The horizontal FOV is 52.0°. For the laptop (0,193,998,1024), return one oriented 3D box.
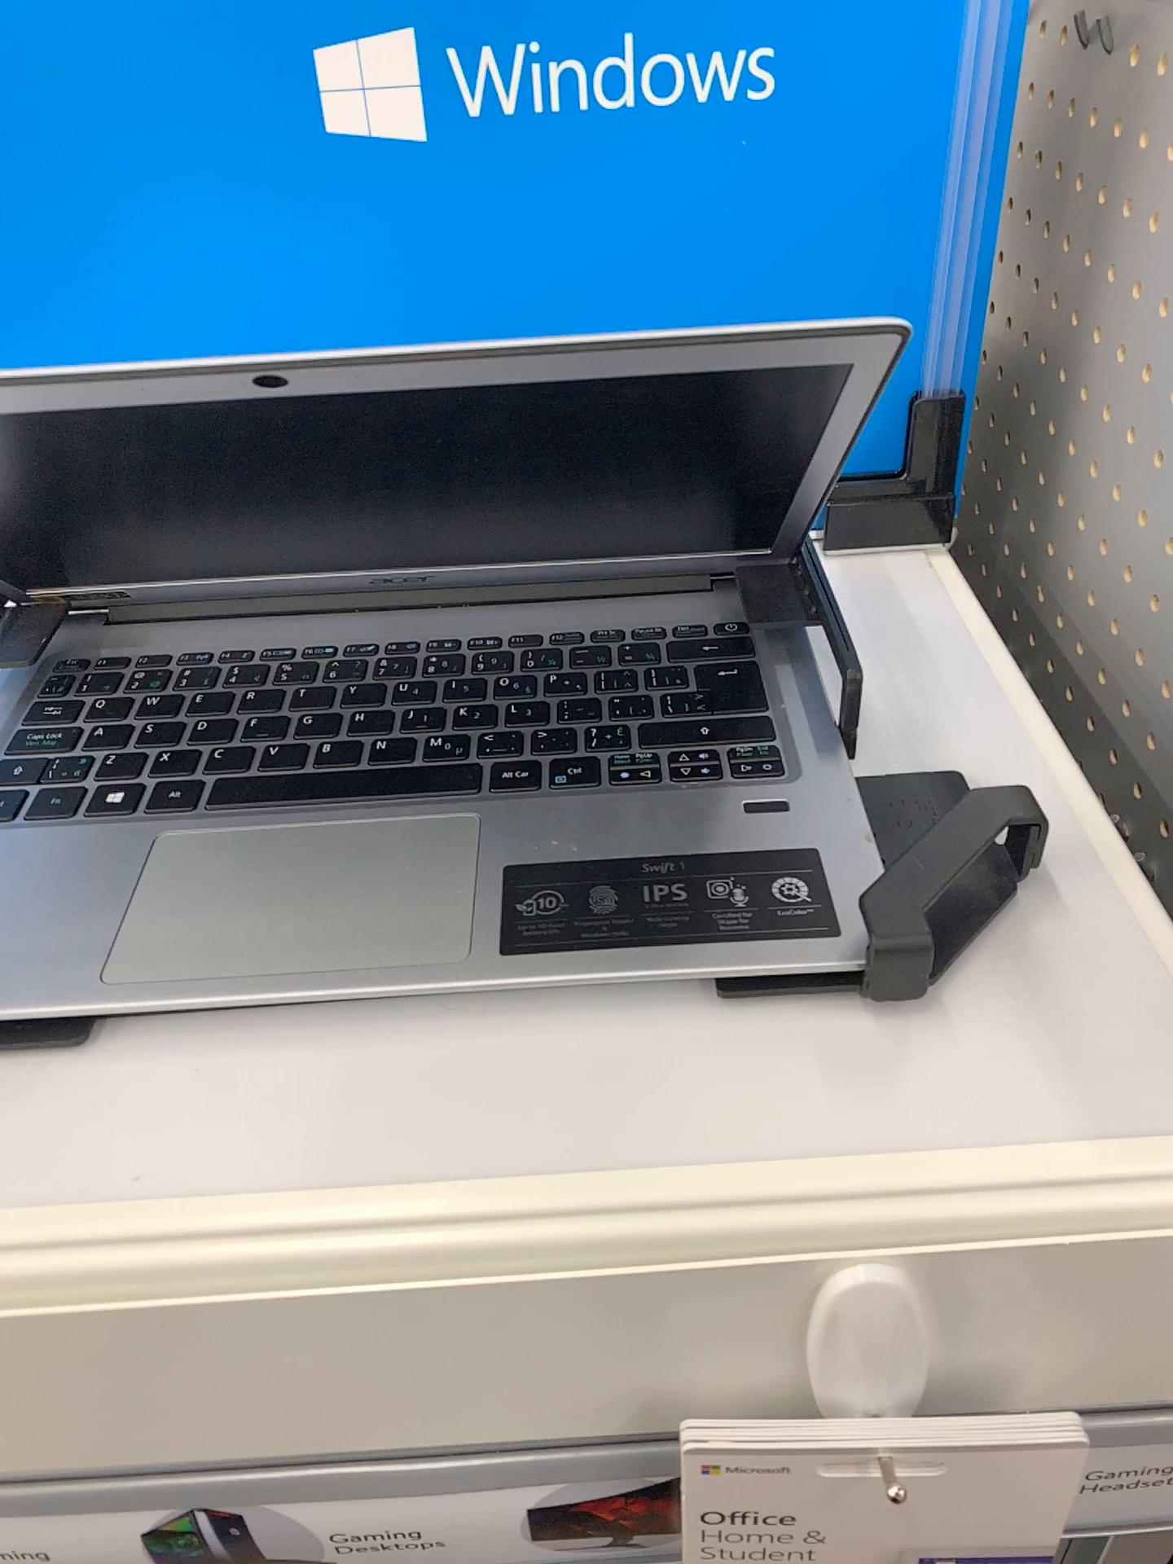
[{"bbox_3d":[-0.073,-0.066,0.359,0.305,0.141,0.214,-3,37,1],"label":"laptop"}]
